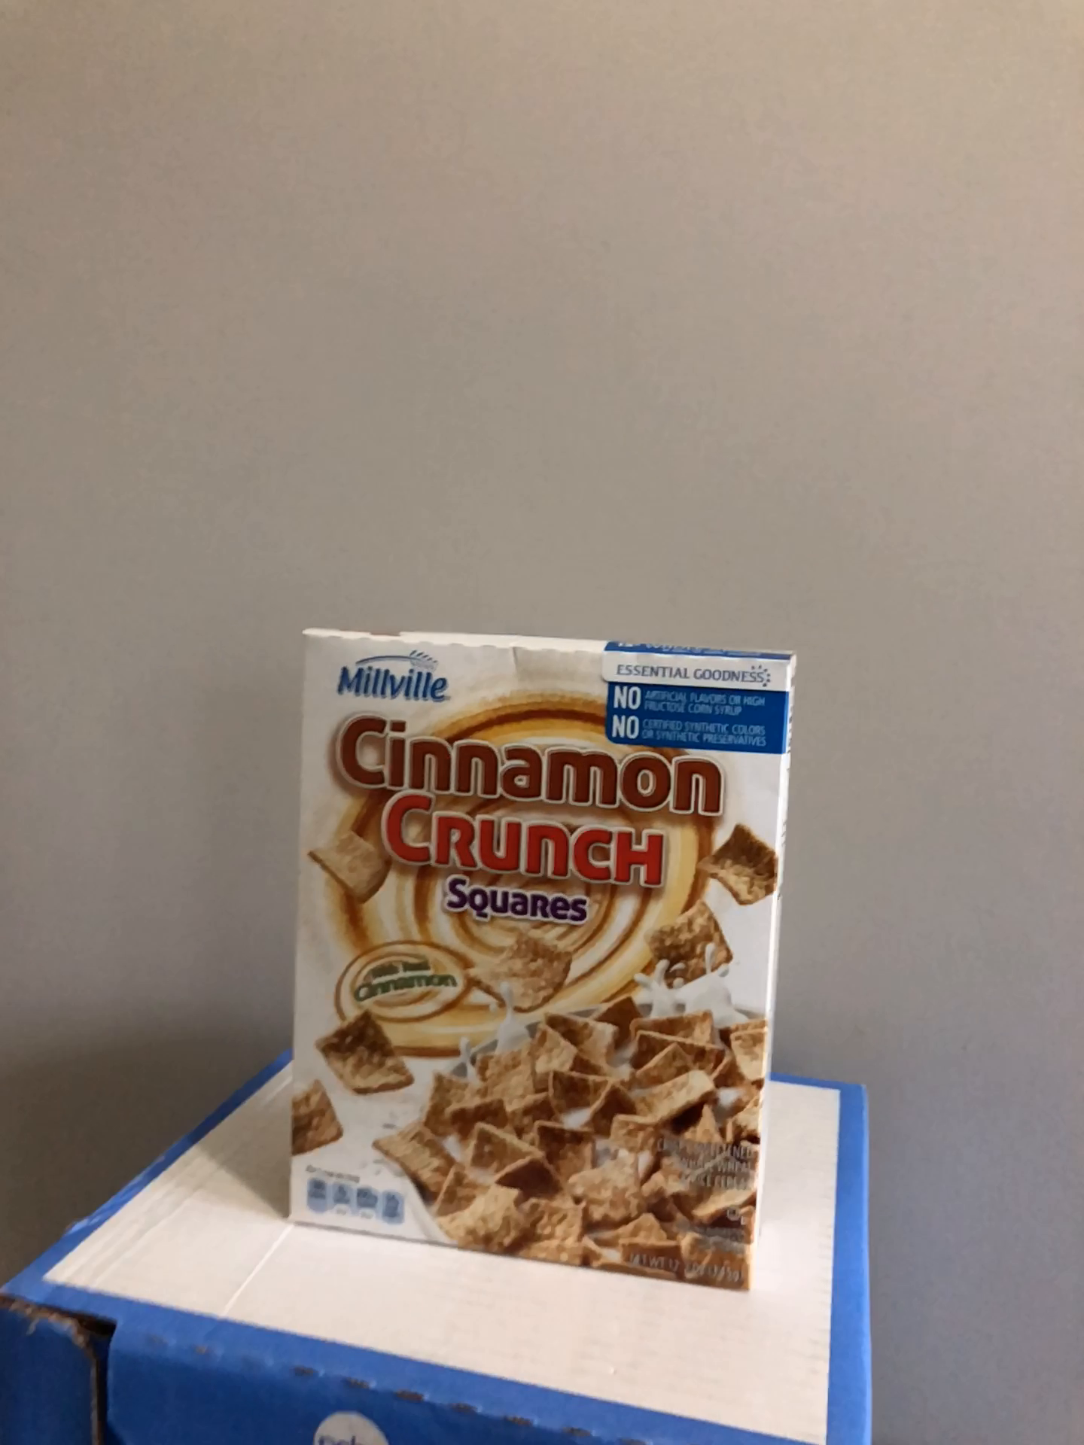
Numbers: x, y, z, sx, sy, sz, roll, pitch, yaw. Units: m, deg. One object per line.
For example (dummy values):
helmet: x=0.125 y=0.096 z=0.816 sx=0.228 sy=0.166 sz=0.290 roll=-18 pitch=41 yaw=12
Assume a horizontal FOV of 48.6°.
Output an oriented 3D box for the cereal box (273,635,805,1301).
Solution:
cereal box: x=-0.002 y=0.094 z=0.515 sx=0.210 sy=0.250 sz=0.070 roll=3 pitch=7 yaw=12
